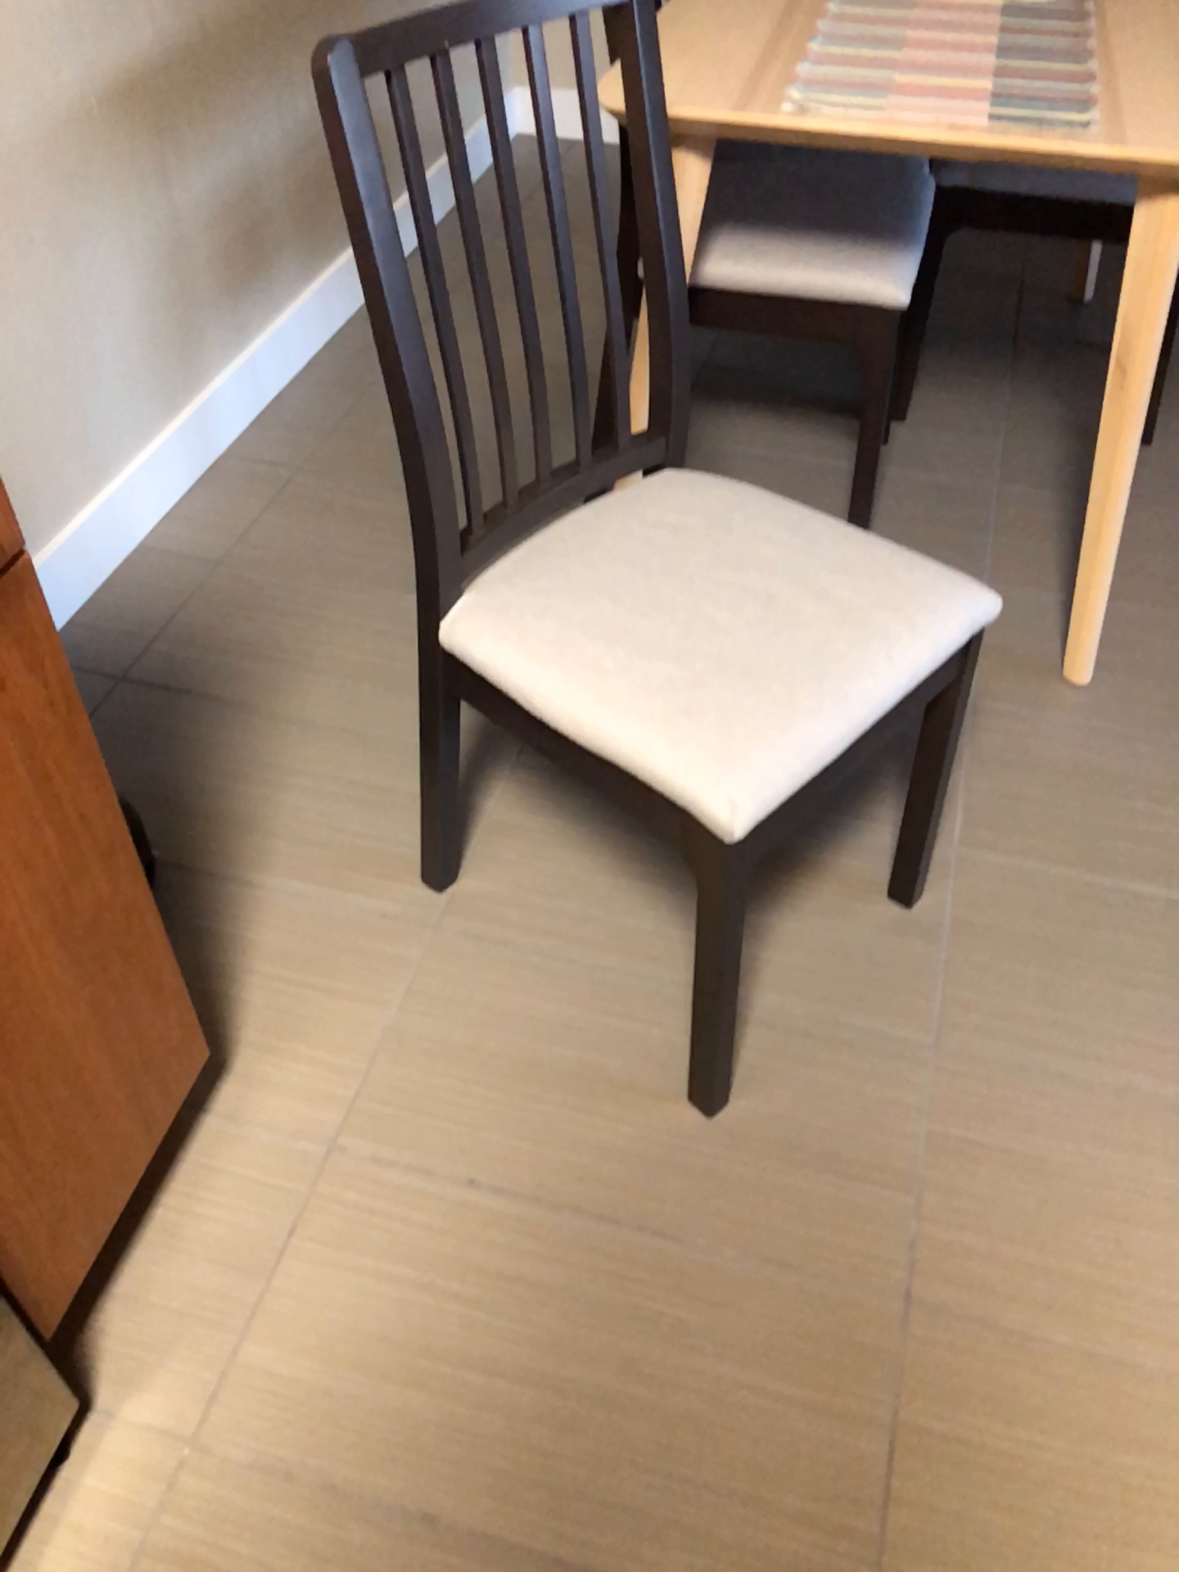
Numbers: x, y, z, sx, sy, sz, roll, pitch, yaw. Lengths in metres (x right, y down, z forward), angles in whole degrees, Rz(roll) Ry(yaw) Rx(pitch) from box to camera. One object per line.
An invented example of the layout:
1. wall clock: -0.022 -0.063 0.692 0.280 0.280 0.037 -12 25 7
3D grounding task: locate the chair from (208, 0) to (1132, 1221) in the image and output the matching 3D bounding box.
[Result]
1. chair: 0.058 -0.147 1.373 0.481 1.125 0.511 -34 53 -30
